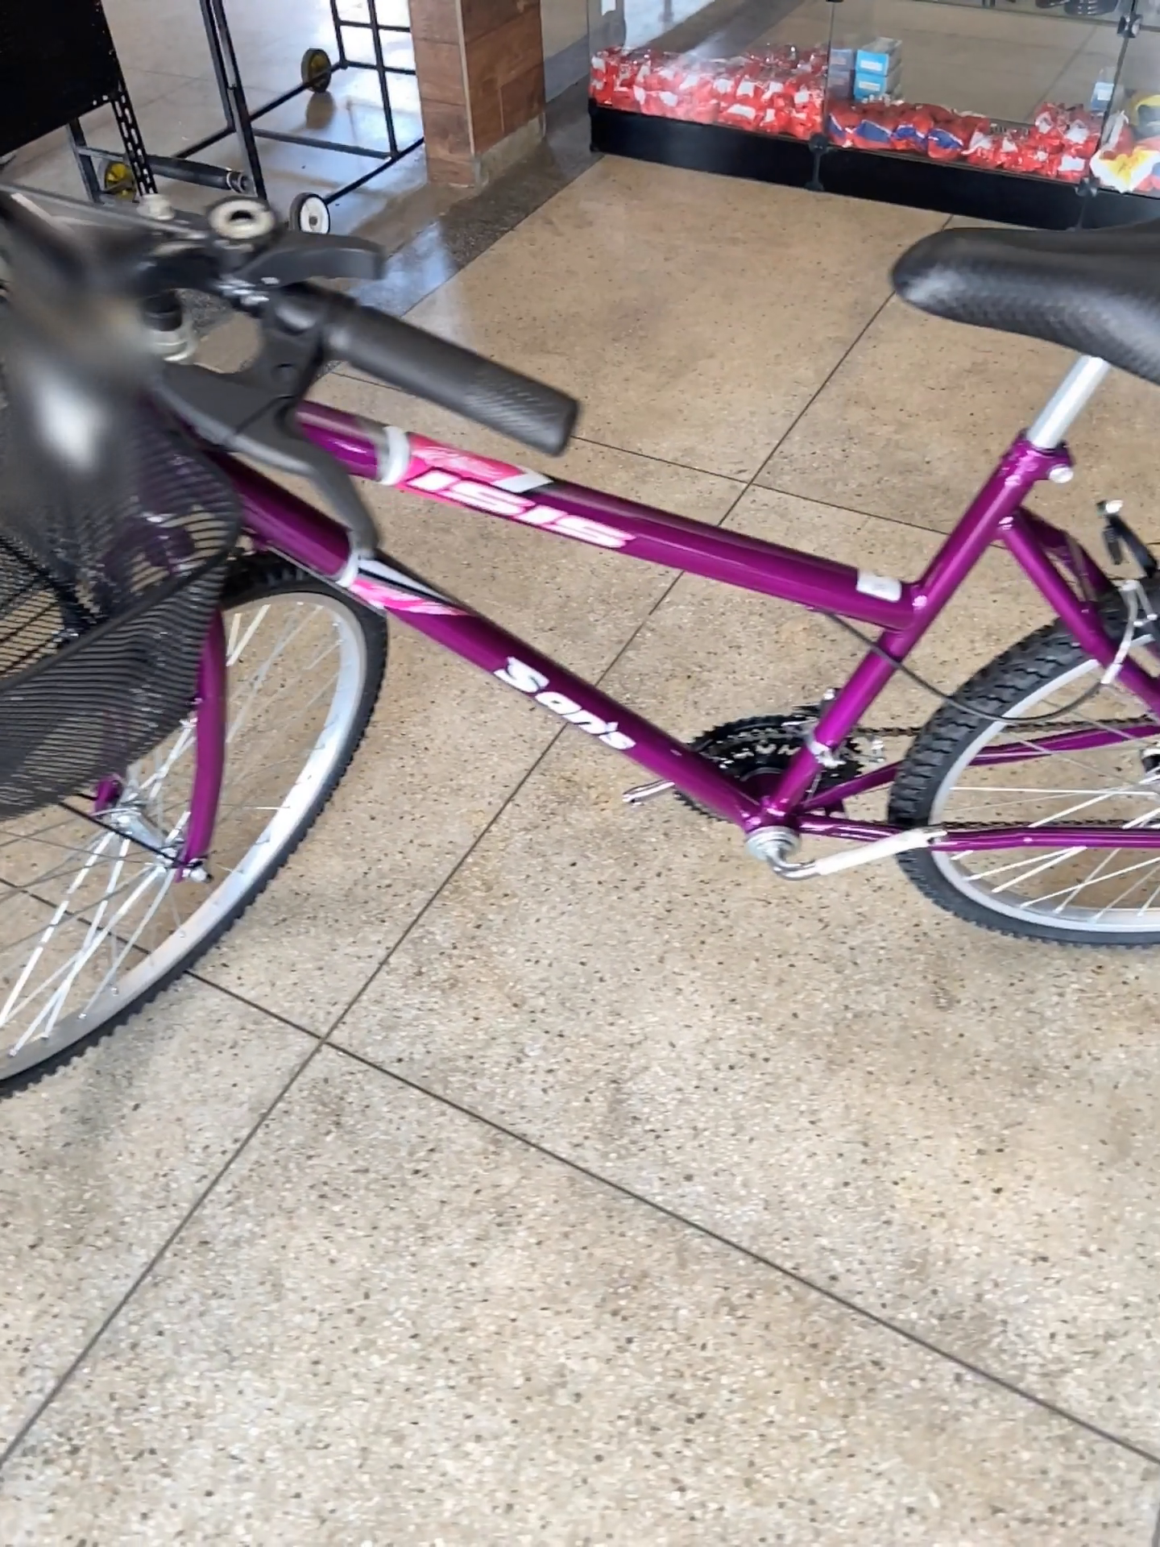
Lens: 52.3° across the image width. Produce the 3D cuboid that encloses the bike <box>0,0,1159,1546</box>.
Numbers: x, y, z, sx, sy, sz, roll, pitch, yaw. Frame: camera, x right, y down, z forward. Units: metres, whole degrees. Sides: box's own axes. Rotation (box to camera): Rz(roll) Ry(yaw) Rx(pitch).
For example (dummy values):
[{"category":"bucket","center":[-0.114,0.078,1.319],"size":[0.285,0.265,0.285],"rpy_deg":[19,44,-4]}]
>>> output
[{"category":"bike","center":[0.174,-0.051,0.856],"size":[1.522,1.034,0.576],"rpy_deg":[-9,47,-7]}]
